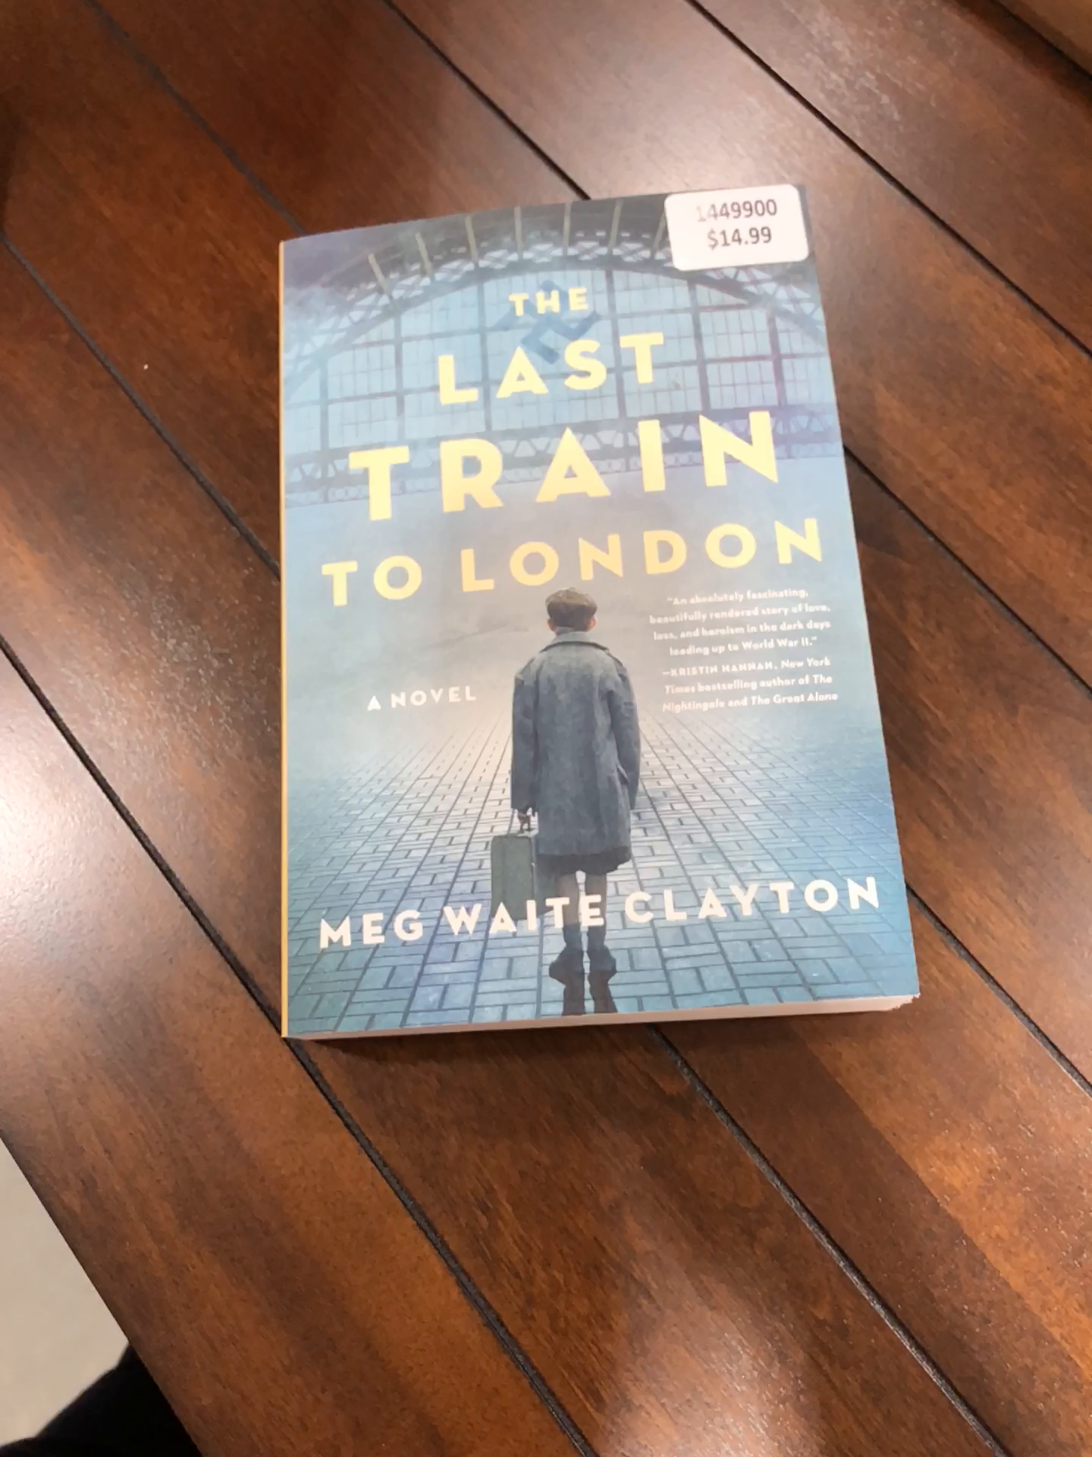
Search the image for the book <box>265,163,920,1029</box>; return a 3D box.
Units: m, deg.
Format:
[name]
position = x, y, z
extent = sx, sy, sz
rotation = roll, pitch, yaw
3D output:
[book]
position = 0.006, -0.036, 0.327
extent = 0.151, 0.041, 0.220
rotation = -4, 76, 5
